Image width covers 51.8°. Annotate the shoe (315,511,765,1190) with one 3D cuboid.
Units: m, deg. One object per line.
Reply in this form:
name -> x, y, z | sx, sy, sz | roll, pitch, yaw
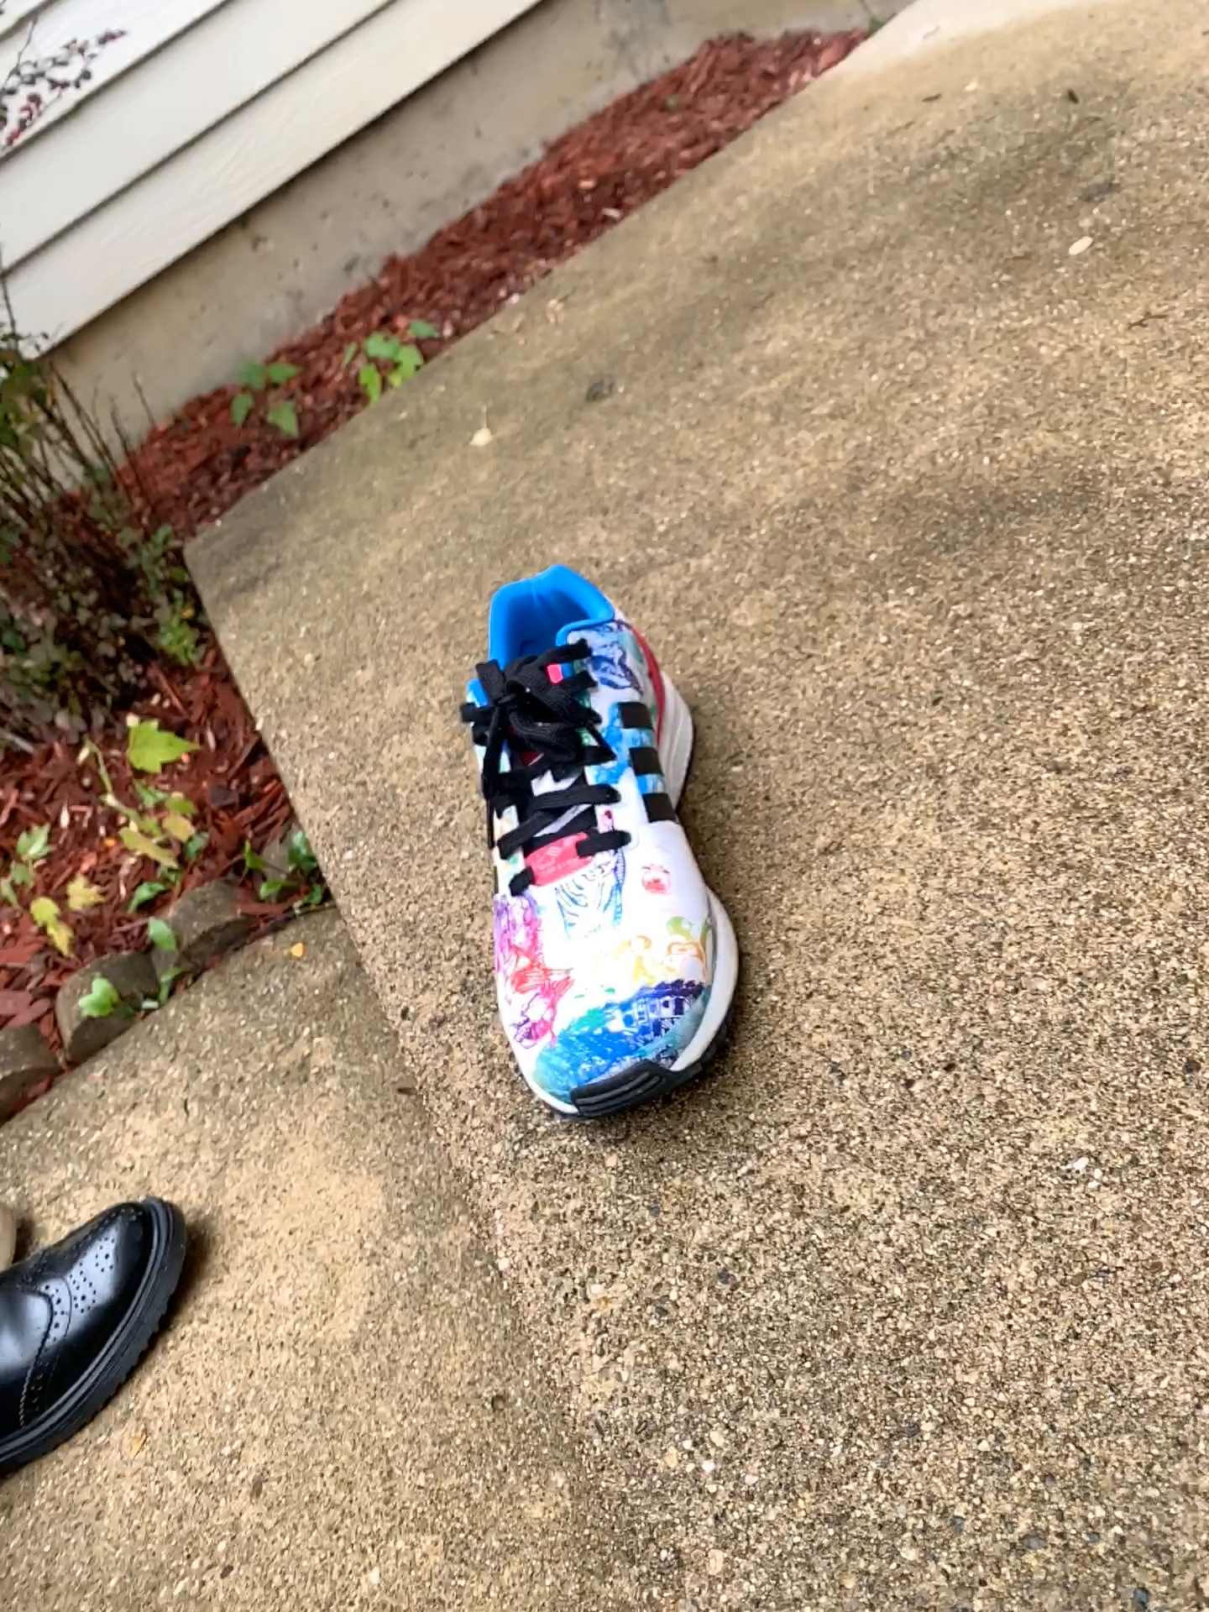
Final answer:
shoe -> -0.017, 0.005, 0.500 | 0.110, 0.104, 0.246 | -21, 37, 18
